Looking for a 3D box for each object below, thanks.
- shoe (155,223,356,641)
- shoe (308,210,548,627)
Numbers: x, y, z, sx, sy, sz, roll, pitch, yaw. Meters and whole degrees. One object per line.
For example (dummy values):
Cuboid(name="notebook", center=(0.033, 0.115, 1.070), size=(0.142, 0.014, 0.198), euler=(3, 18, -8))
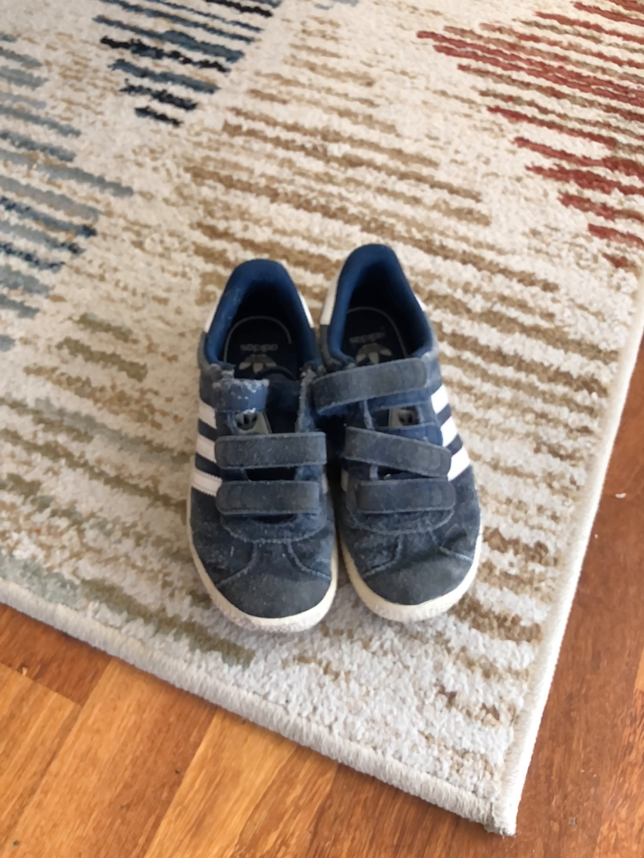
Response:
Cuboid(name="shoe", center=(-0.035, -0.007, 0.377), size=(0.084, 0.053, 0.217), euler=(-3, 62, -3))
Cuboid(name="shoe", center=(0.044, -0.015, 0.381), size=(0.086, 0.052, 0.219), euler=(-4, 62, -3))
